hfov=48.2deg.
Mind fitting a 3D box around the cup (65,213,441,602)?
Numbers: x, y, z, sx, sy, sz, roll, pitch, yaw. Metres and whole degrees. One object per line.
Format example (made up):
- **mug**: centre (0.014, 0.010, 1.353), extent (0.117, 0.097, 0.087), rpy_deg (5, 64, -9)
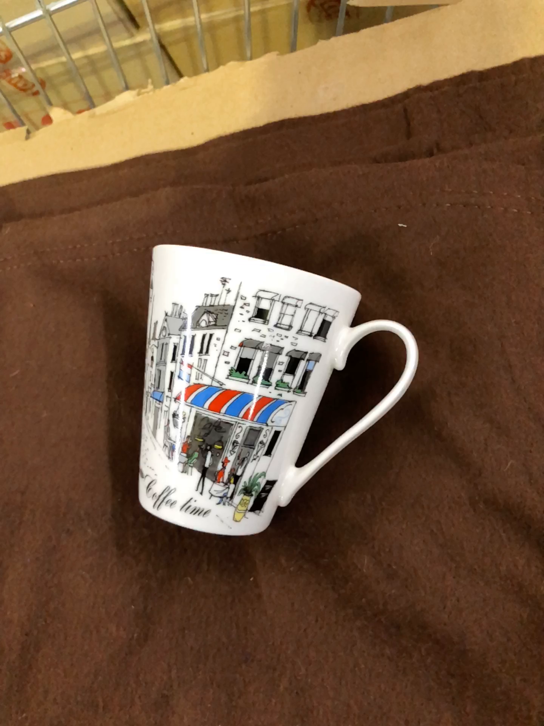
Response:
- **cup**: centre (-0.002, 0.012, 0.247), extent (0.110, 0.080, 0.110), rpy_deg (-1, 85, 18)
